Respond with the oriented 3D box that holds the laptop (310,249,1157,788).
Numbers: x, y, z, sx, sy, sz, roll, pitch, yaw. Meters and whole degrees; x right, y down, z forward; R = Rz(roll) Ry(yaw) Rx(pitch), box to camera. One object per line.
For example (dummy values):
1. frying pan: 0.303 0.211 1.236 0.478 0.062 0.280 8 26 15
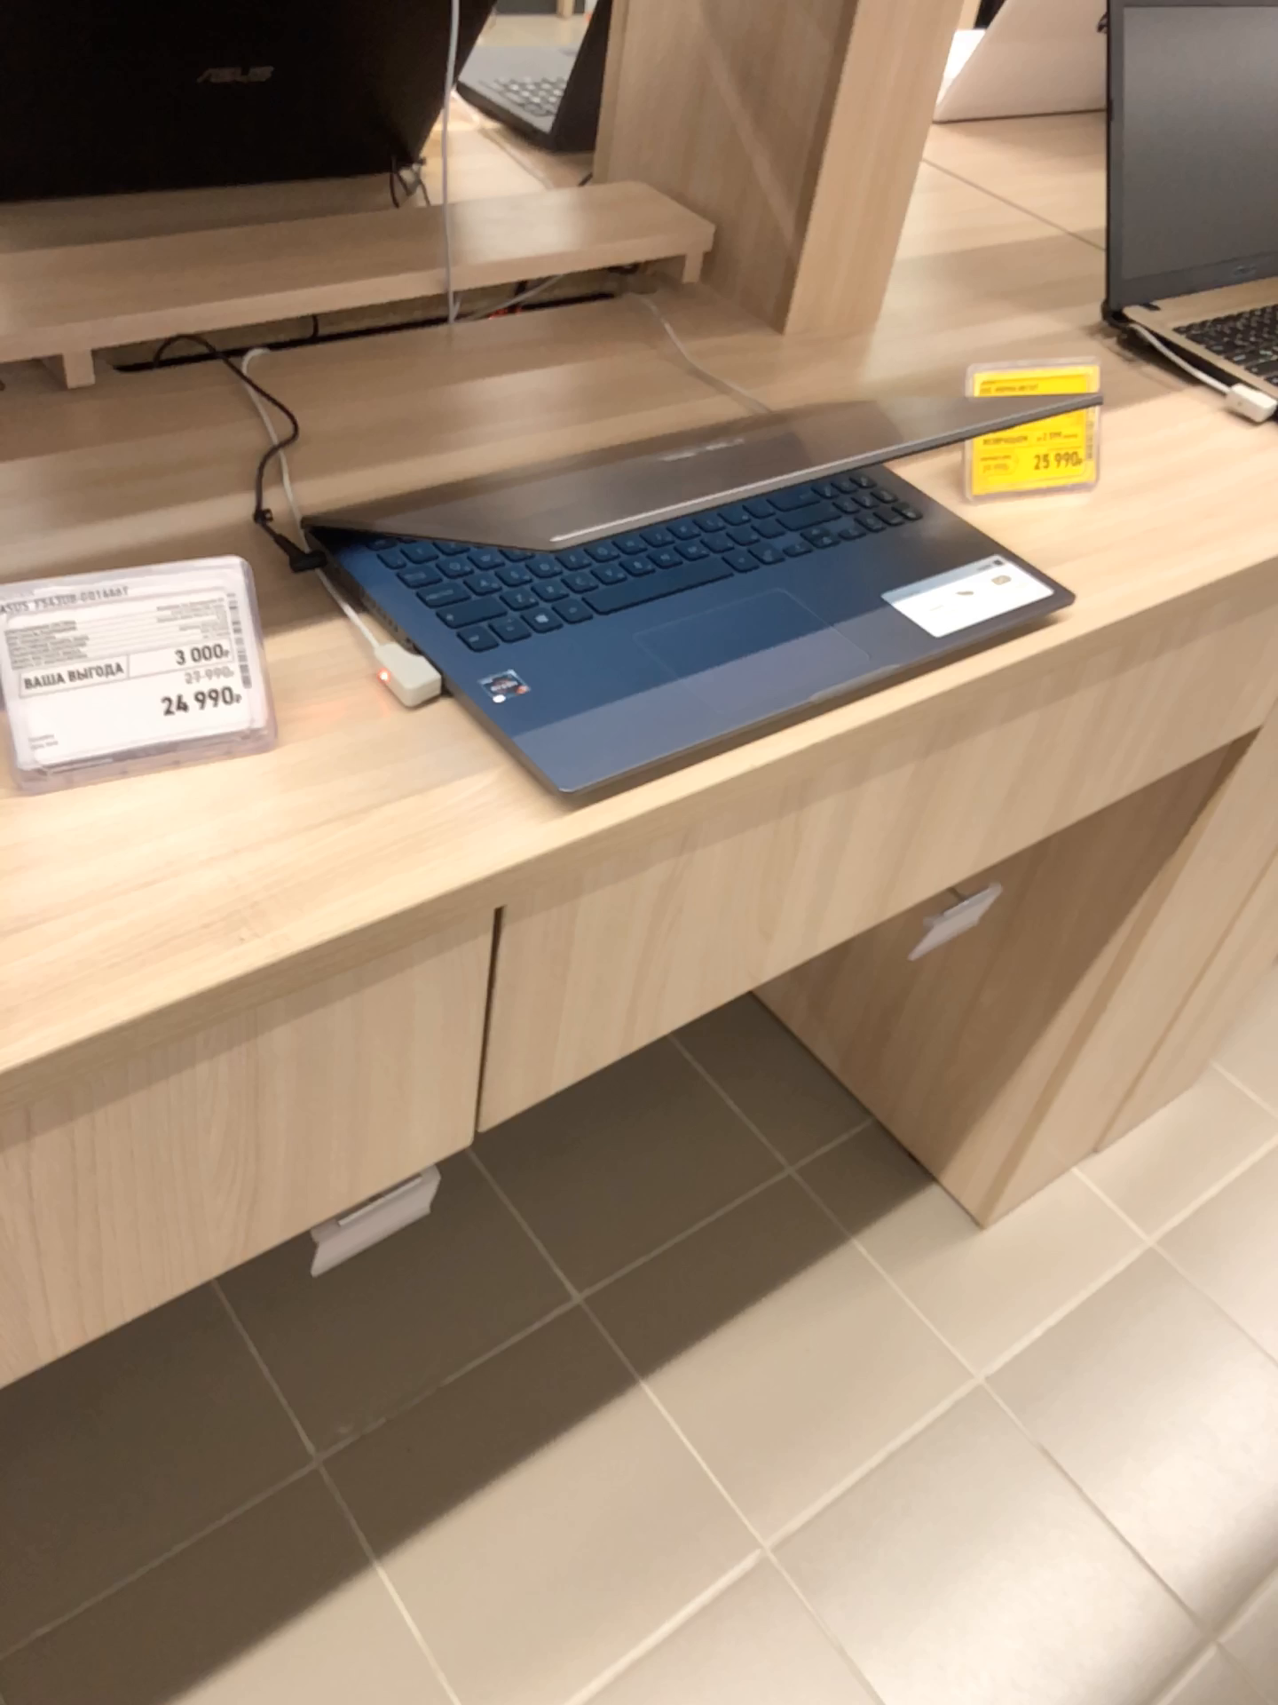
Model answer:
1. laptop: 0.046 -0.194 0.726 0.350 0.111 0.233 -22 51 -32
